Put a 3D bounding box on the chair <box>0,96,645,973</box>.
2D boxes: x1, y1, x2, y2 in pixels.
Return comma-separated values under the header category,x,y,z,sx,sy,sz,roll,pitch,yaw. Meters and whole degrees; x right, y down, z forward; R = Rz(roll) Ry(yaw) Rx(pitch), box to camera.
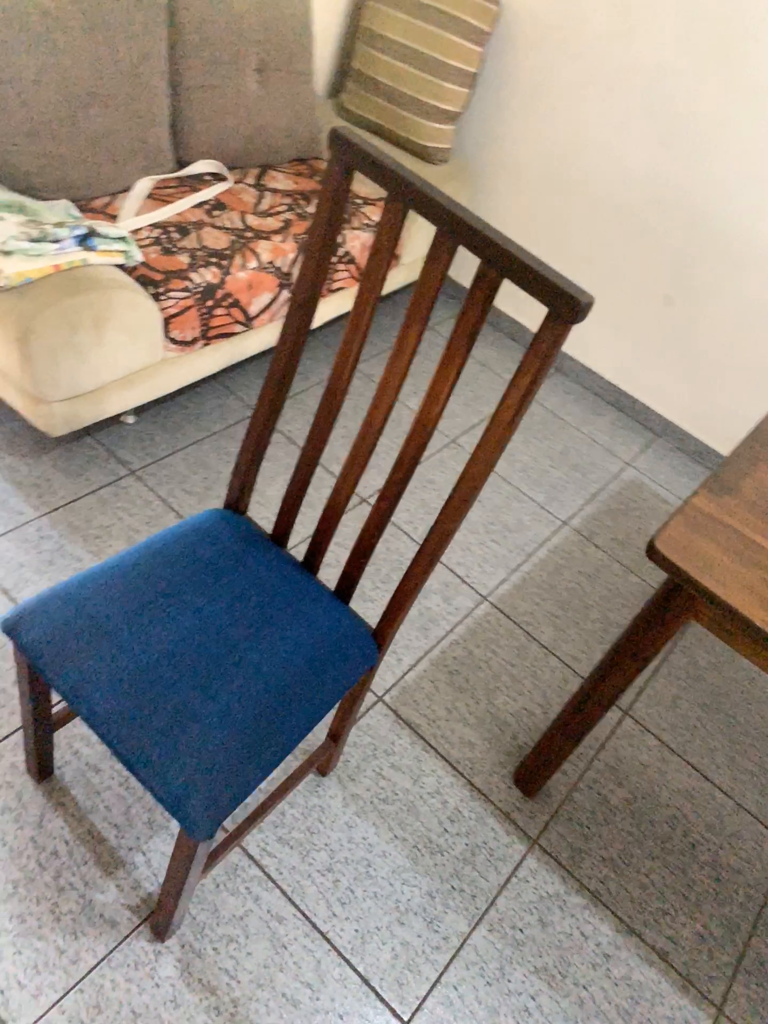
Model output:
category,x,y,z,sx,sy,sz,roll,pitch,yaw
chair,-0.219,0.121,1.107,0.470,1.124,0.522,41,48,18
